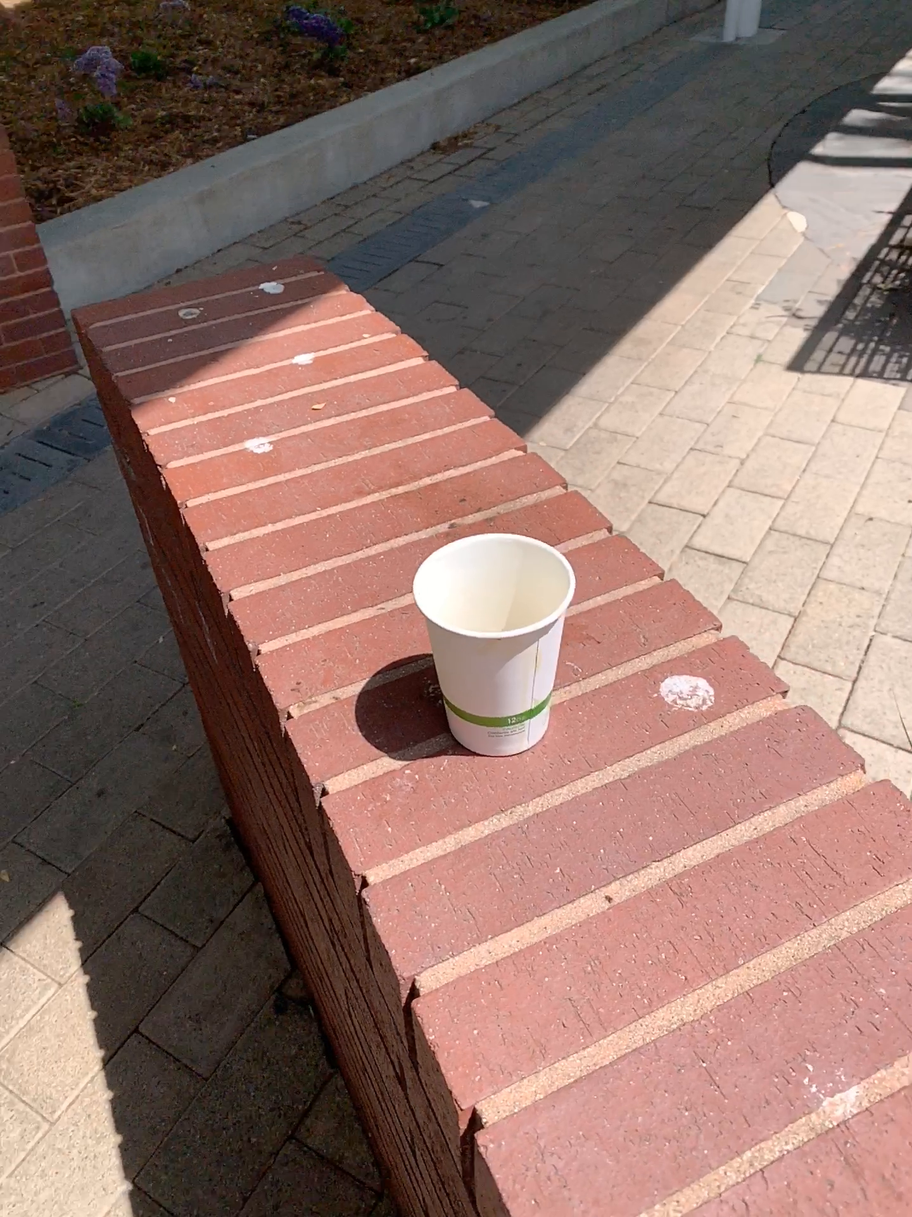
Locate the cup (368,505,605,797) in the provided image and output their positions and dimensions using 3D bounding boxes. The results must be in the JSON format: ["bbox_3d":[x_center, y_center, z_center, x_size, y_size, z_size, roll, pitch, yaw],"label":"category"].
[{"bbox_3d":[0.019,0.023,0.537,0.090,0.109,0.090,-2,41,1],"label":"cup"}]
